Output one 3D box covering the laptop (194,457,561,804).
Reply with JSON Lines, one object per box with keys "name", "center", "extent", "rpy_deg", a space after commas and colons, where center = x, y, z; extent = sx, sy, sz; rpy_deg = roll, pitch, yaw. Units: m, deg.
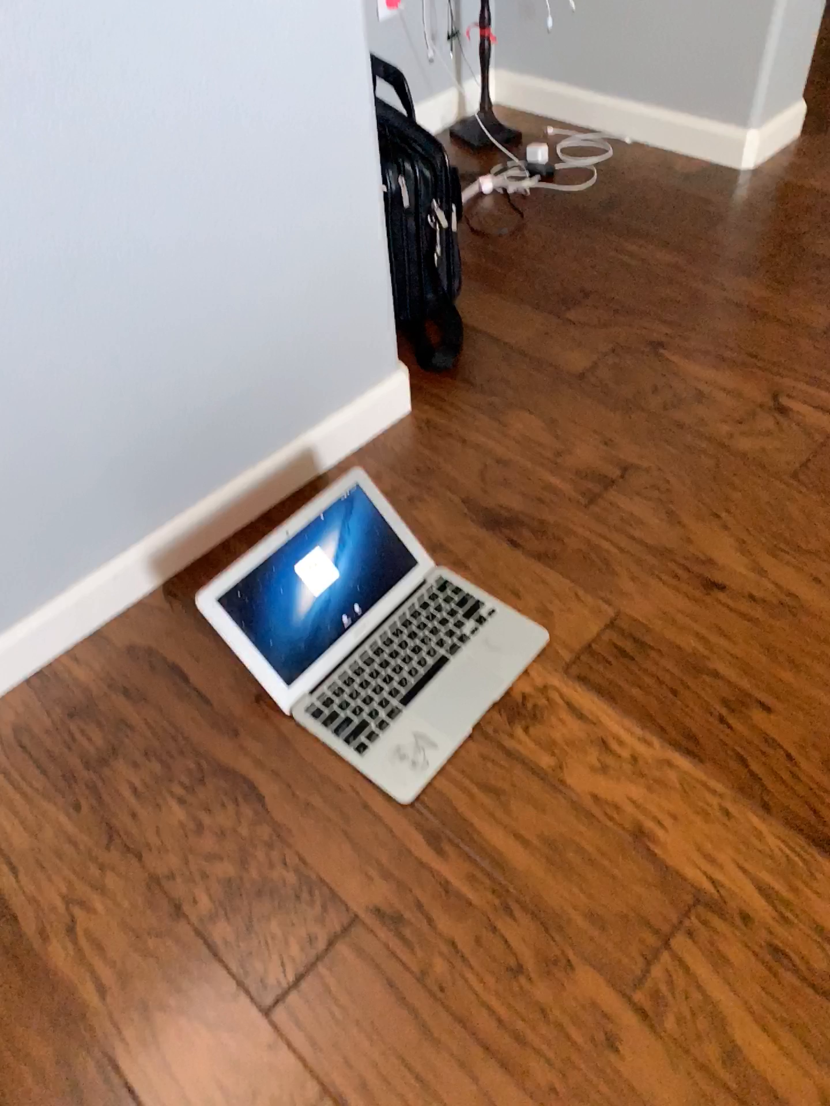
{"name": "laptop", "center": [-0.041, 0.075, 1.040], "extent": [0.323, 0.117, 0.294], "rpy_deg": [32, 58, 27]}
